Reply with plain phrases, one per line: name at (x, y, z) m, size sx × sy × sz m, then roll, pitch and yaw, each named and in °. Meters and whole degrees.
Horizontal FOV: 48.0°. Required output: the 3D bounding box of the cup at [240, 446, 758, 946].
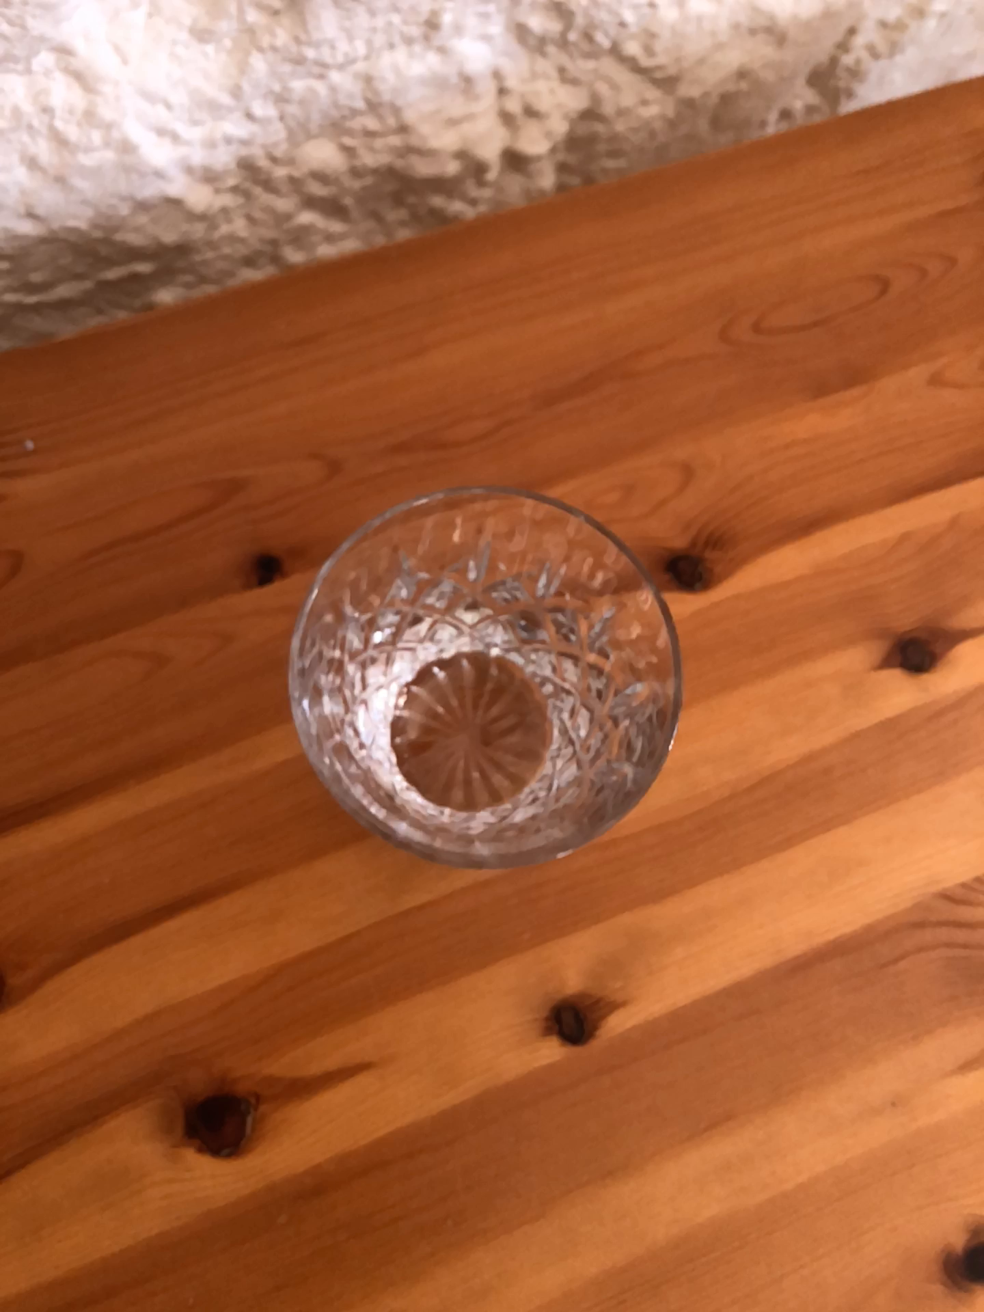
cup at (-0.002, 0.013, 0.240) m, size 0.077 × 0.068 × 0.076 m, roll 1°, pitch 75°, yaw -5°
